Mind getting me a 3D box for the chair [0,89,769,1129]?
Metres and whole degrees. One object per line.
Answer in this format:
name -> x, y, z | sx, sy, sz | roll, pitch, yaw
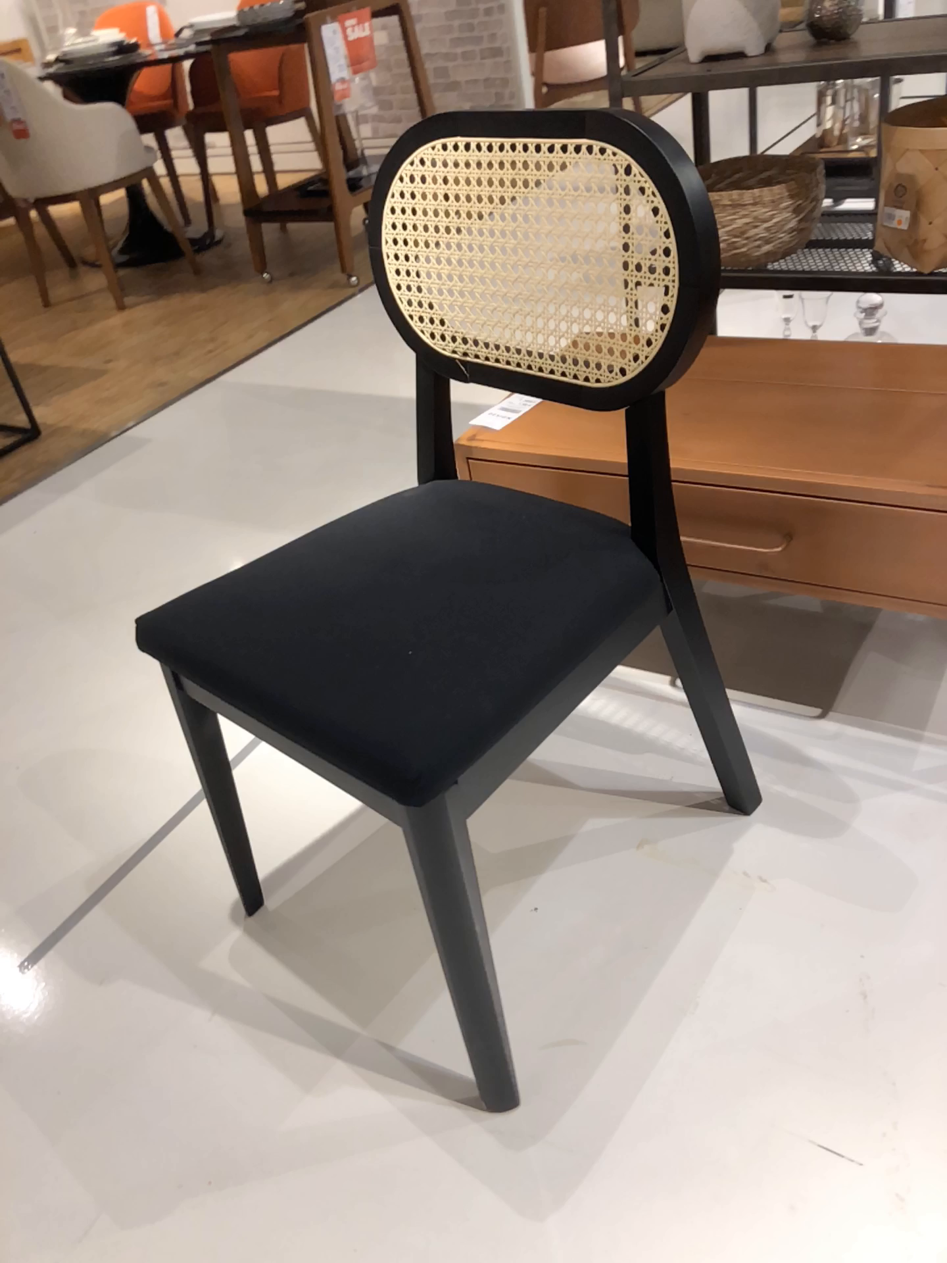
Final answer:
chair -> -0.053, -0.054, 1.091 | 0.502, 0.804, 0.542 | 20, 45, 38
